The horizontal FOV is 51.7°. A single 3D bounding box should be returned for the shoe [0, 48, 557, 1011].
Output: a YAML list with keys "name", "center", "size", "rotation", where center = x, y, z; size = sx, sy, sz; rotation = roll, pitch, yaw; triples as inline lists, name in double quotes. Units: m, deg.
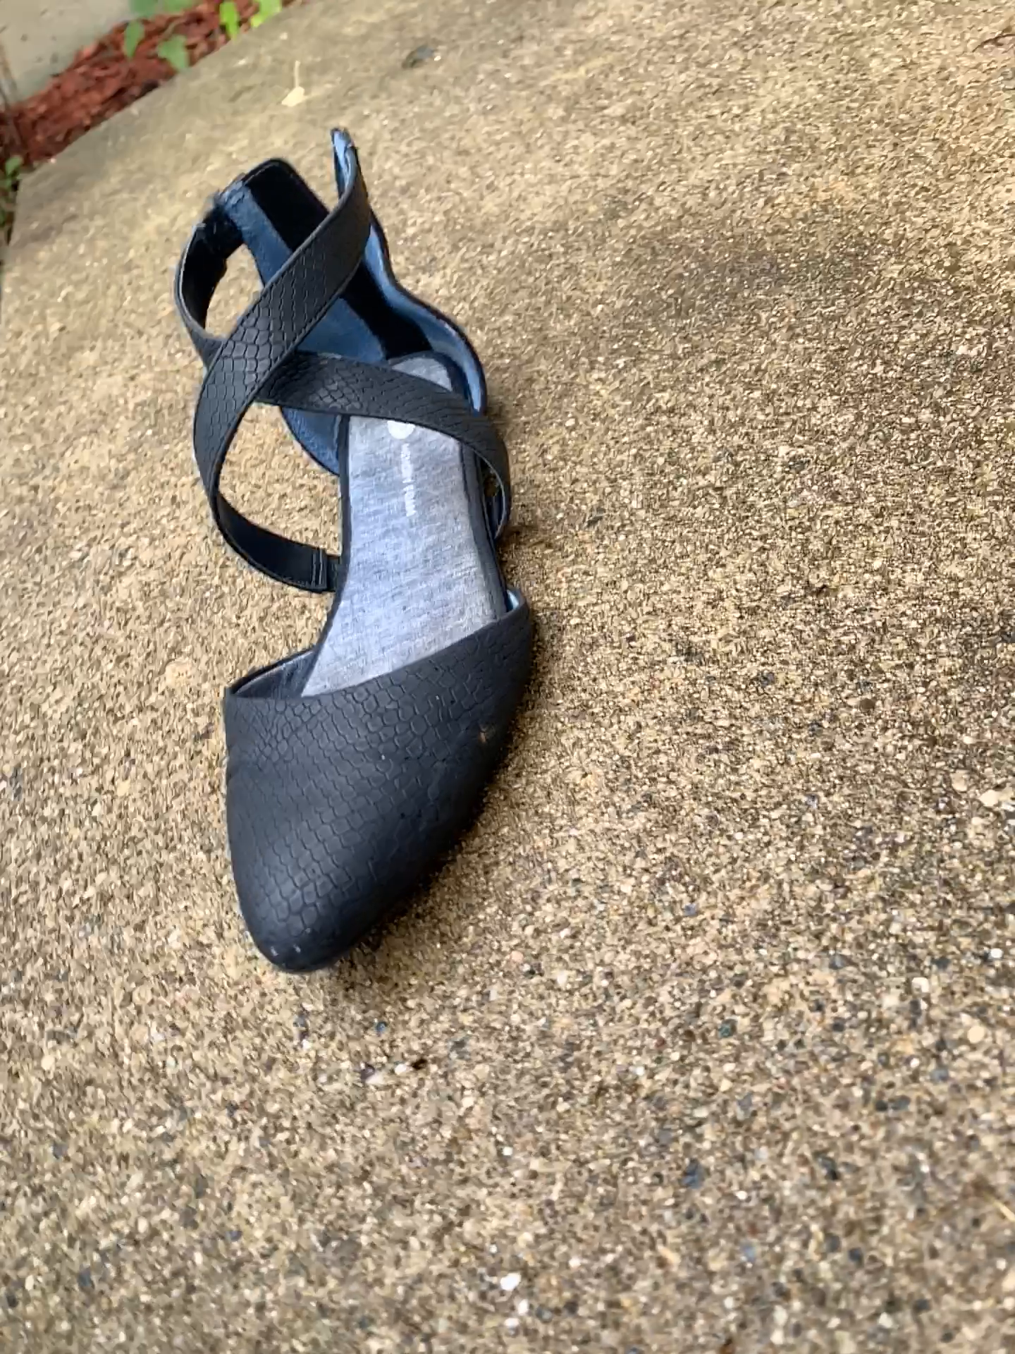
- name: "shoe"
  center: [-0.052, -0.057, 0.308]
  size: [0.097, 0.112, 0.264]
  rotation: [-14, 47, 19]
